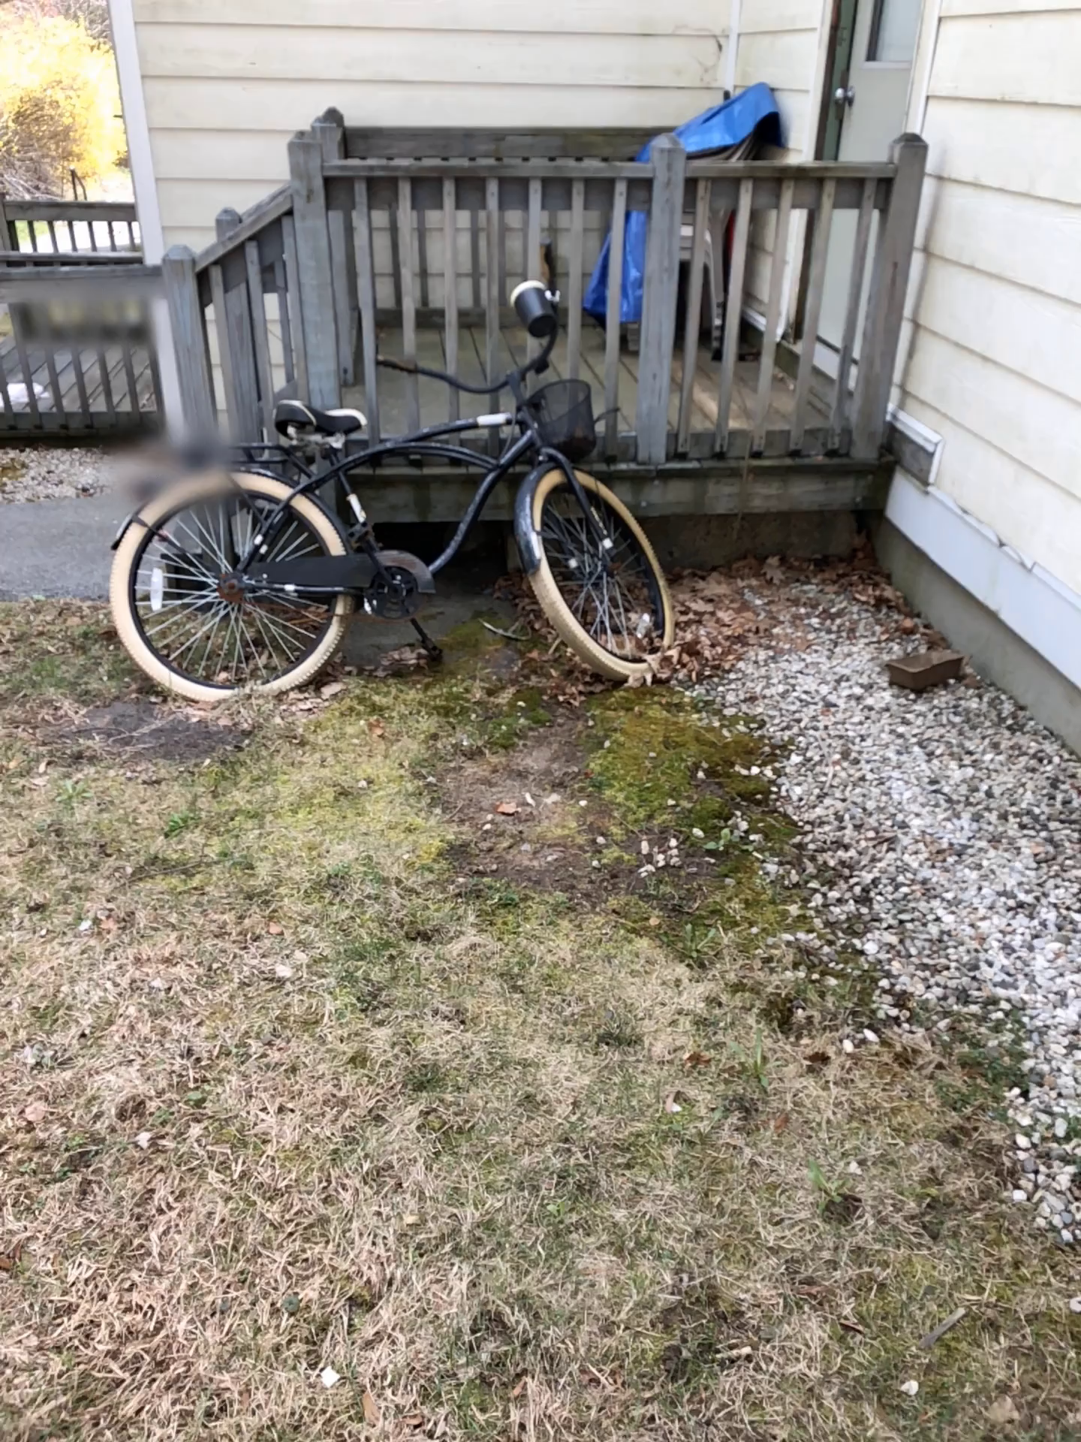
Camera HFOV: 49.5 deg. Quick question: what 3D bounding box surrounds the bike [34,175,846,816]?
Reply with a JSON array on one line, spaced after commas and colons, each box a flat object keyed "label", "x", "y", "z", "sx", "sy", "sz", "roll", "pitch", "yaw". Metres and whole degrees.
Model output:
[{"label": "bike", "x": -0.332, "y": -0.681, "z": 3.270, "sx": 1.610, "sy": 1.313, "sz": 0.942, "roll": -12, "pitch": 31, "yaw": -16}]
